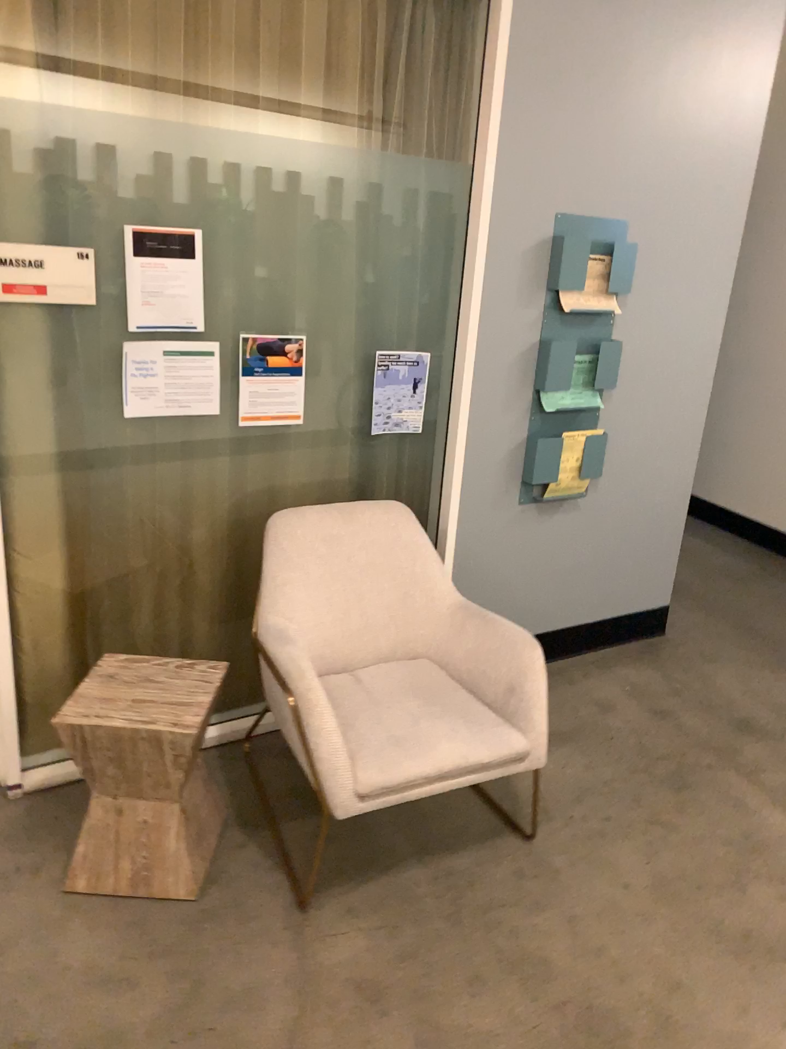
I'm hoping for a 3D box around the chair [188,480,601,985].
[{"bbox_3d":[-0.076,0.465,2.276,0.780,0.926,0.873,-6,21,-28],"label":"chair"}]
